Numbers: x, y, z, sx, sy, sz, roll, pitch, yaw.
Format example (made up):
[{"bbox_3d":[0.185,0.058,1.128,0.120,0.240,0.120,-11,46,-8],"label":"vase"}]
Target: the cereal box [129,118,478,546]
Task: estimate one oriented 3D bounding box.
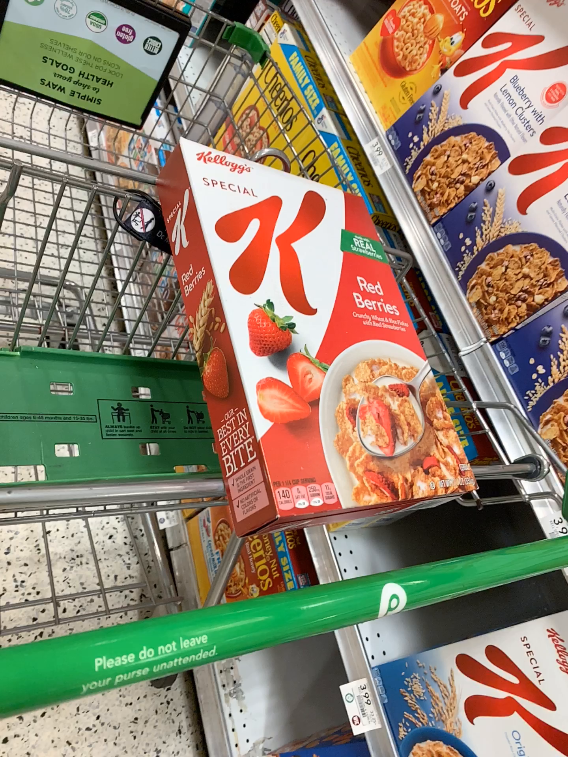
[{"bbox_3d":[0.011,-0.040,0.446,0.201,0.059,0.291,3,61,-39],"label":"cereal box"}]
